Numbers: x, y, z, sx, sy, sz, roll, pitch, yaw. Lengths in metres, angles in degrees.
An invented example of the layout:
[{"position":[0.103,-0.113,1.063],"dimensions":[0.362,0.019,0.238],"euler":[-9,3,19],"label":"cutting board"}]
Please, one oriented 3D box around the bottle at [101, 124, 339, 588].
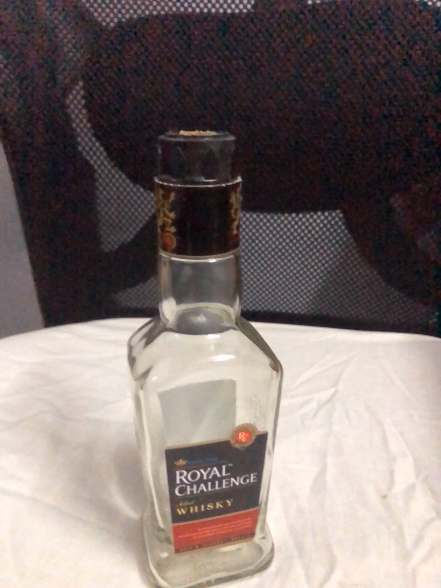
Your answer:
[{"position":[-0.004,0.037,0.205],"dimensions":[0.070,0.199,0.050],"euler":[-6,24,-14],"label":"bottle"}]
